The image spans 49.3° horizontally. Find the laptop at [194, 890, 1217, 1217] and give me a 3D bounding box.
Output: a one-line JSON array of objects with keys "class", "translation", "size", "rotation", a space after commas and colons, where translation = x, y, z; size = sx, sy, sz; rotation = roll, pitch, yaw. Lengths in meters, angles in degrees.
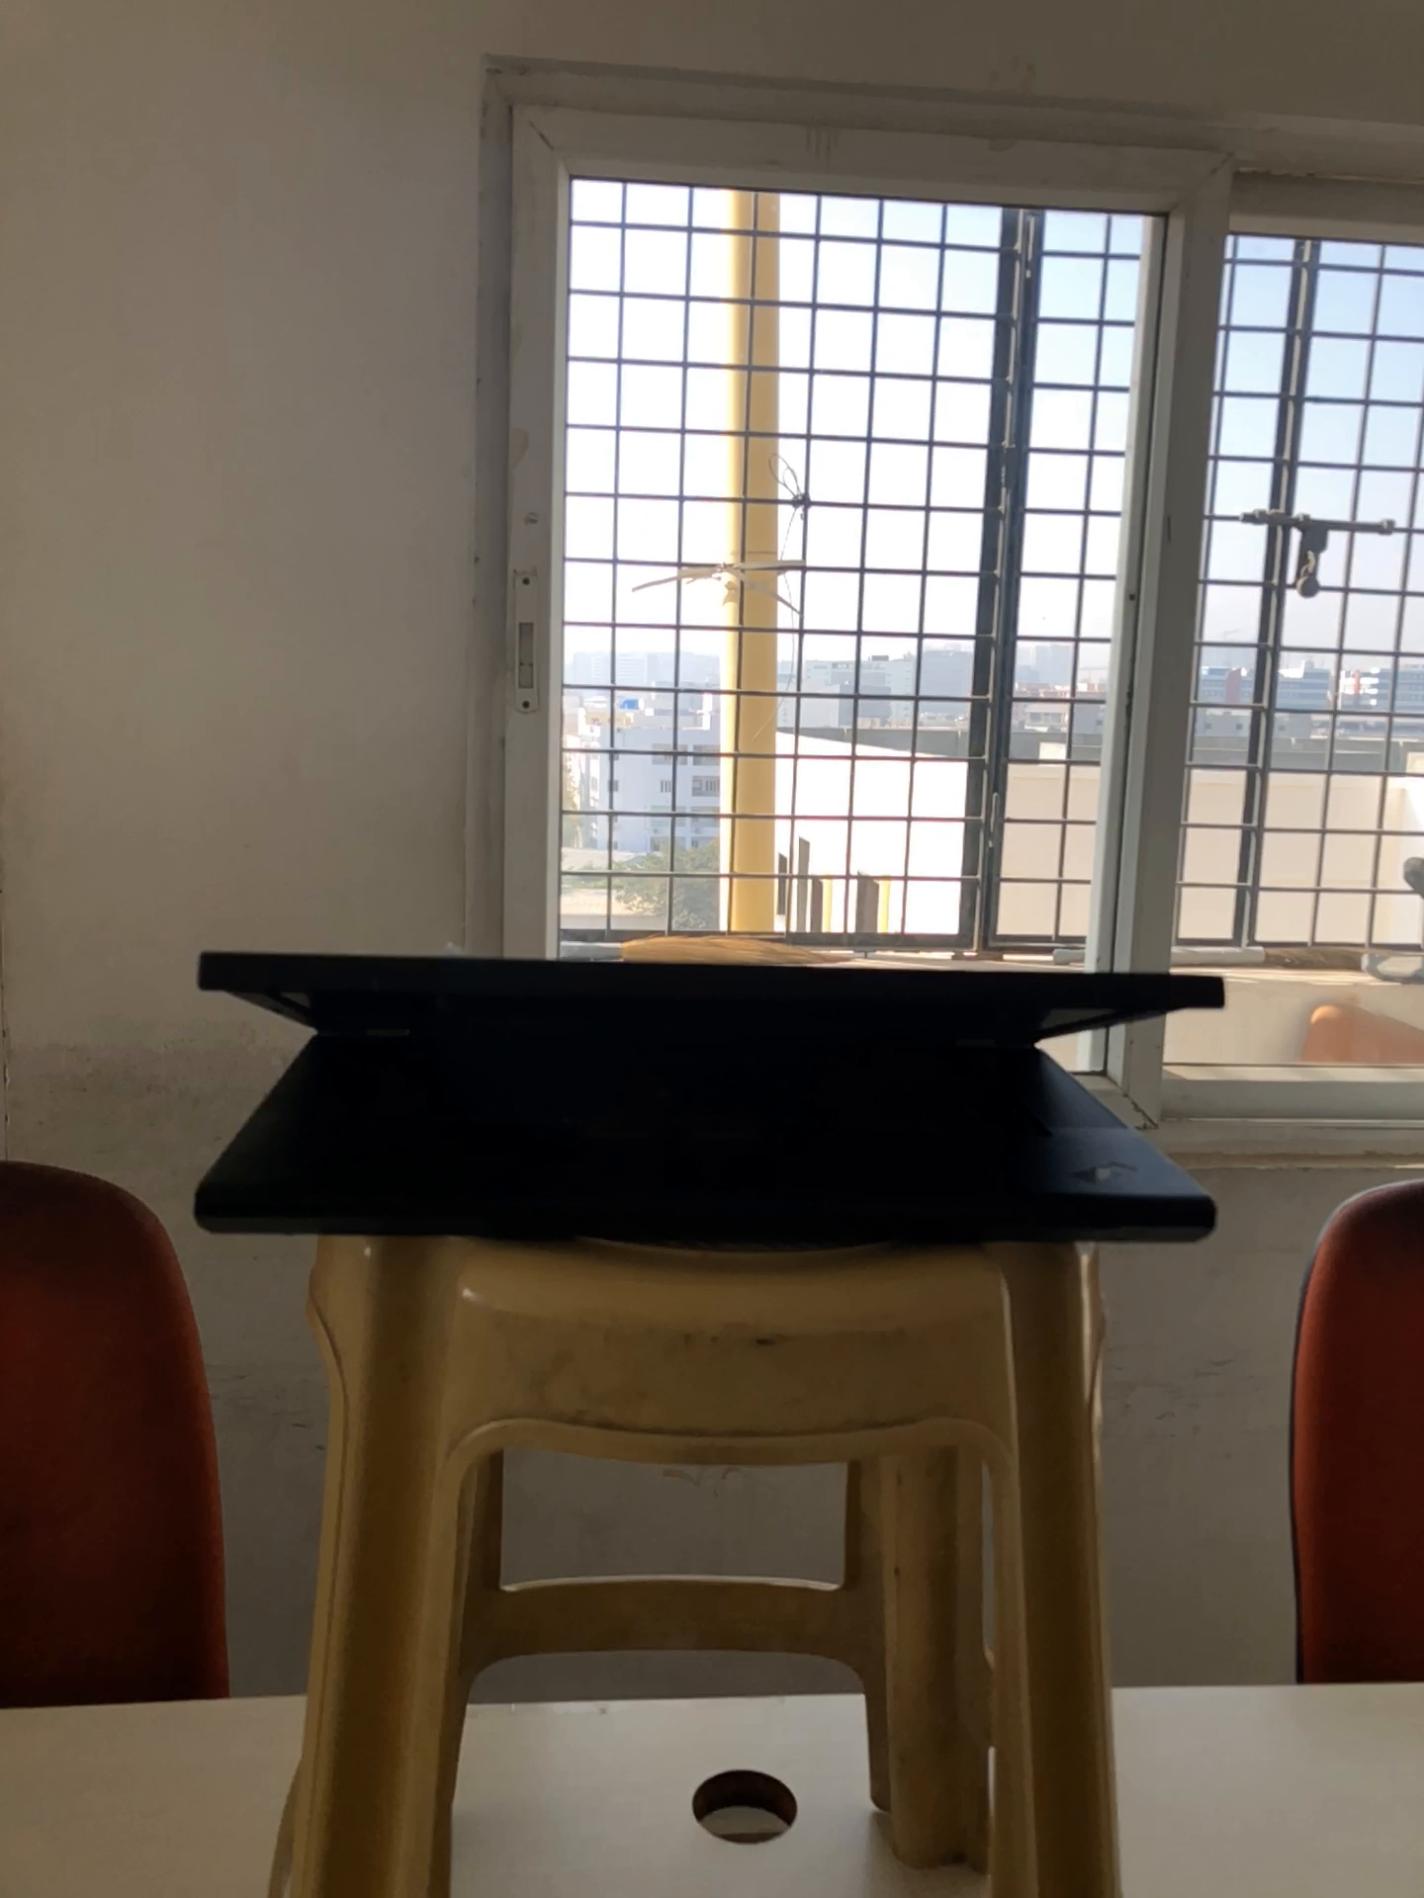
[{"class": "laptop", "translation": [-0.005, 0.035, 0.667], "size": [0.362, 0.075, 0.235], "rotation": [1, 11, -5]}]
